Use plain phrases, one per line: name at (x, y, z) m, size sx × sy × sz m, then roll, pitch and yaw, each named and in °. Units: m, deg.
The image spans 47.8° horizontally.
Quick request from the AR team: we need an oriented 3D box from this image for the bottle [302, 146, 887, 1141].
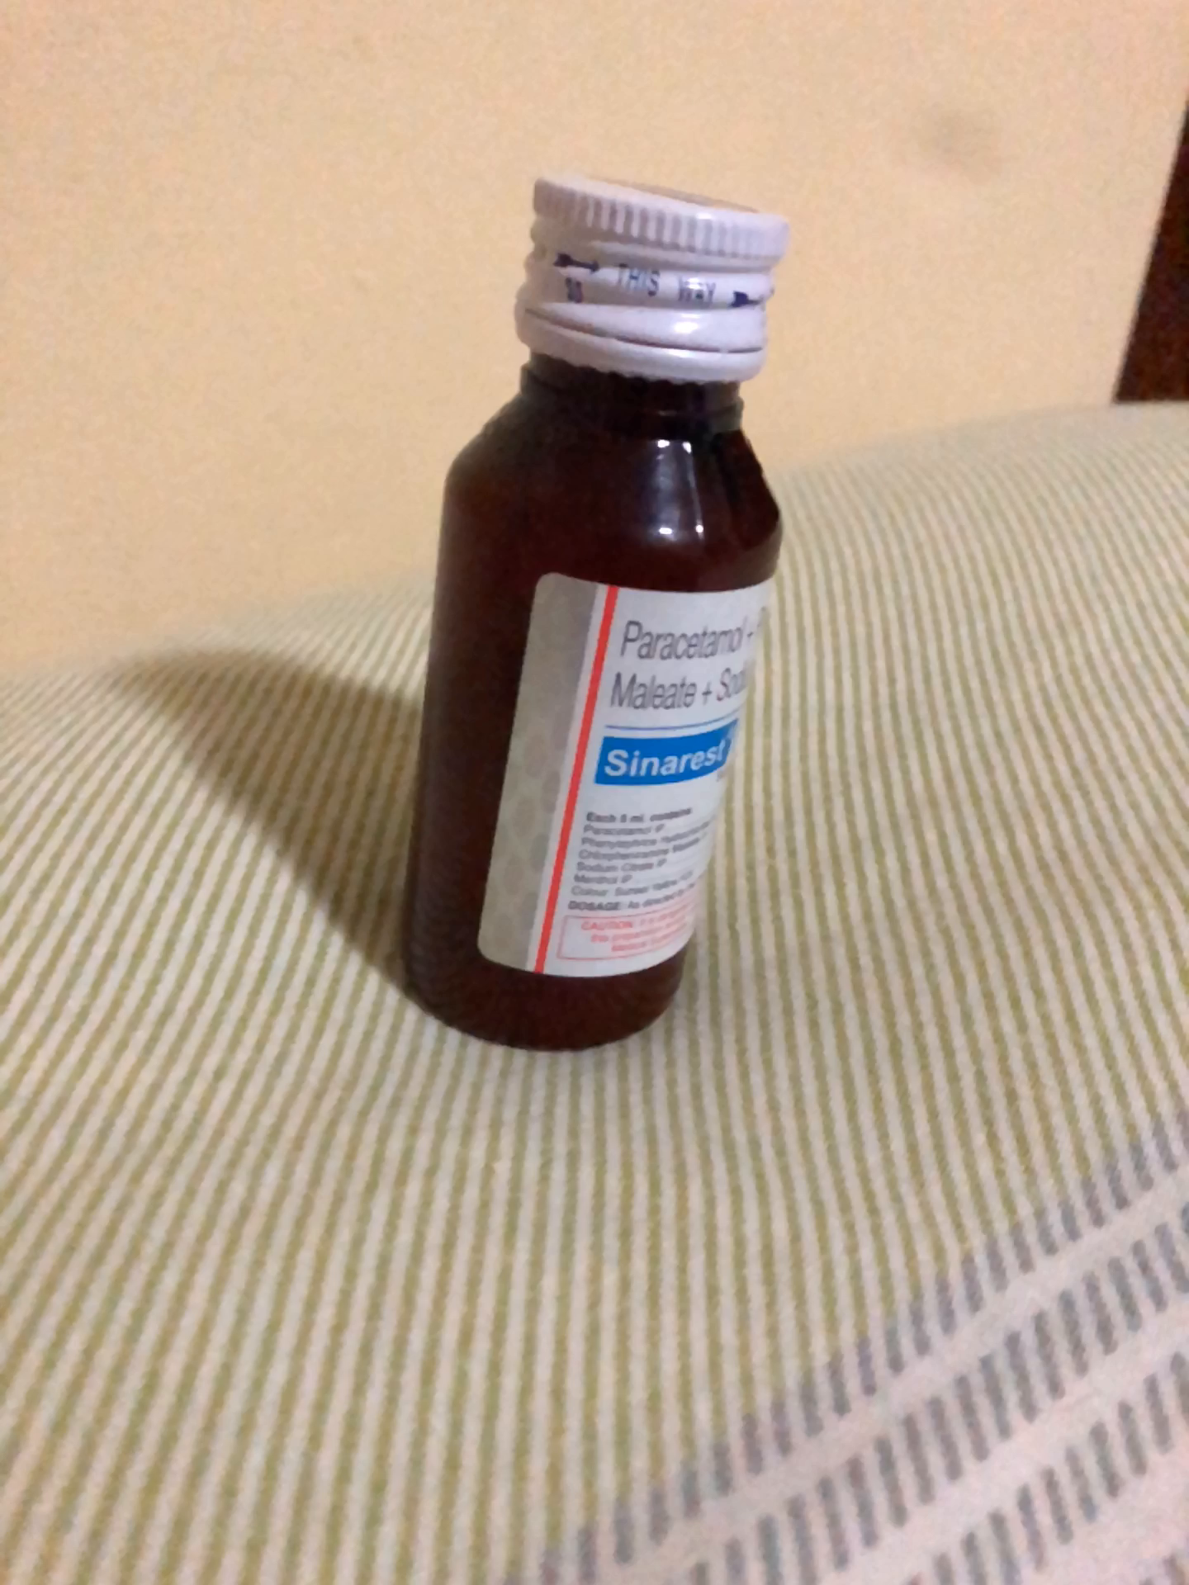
bottle at (-0.006, -0.015, 0.154) m, size 0.040 × 0.100 × 0.037 m, roll 7°, pitch 31°, yaw -4°
